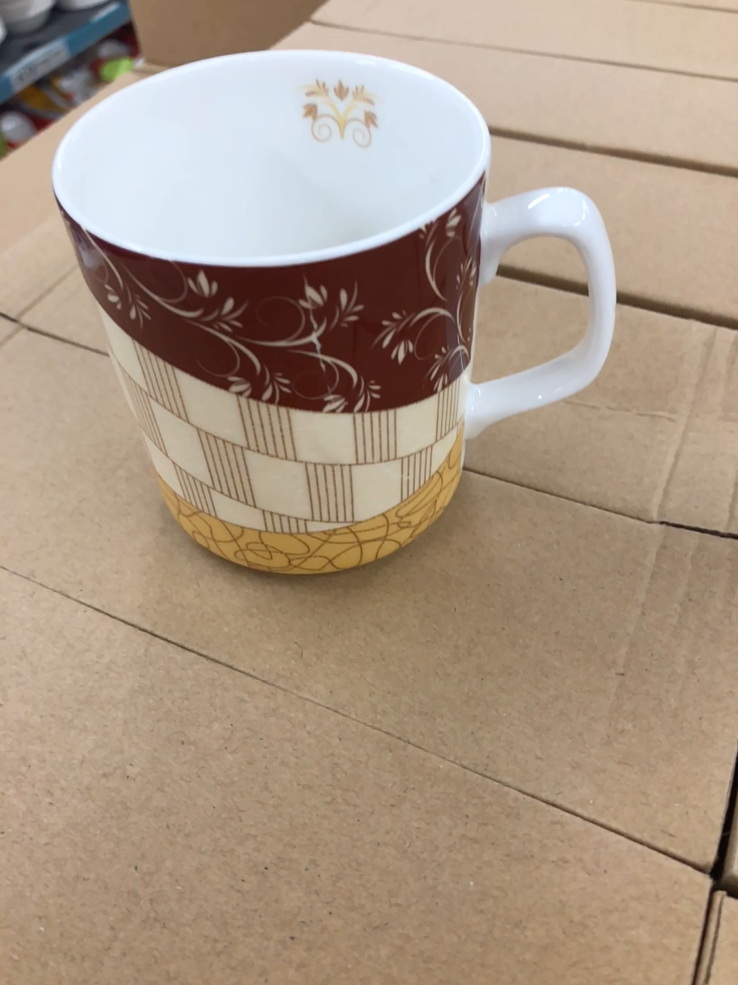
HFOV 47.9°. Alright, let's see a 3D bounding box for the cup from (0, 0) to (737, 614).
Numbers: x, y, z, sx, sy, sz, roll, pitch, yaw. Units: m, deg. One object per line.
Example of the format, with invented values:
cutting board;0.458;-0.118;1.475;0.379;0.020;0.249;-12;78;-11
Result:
cup;-0.004;-0.033;0.149;0.100;0.080;0.070;-4;49;1
